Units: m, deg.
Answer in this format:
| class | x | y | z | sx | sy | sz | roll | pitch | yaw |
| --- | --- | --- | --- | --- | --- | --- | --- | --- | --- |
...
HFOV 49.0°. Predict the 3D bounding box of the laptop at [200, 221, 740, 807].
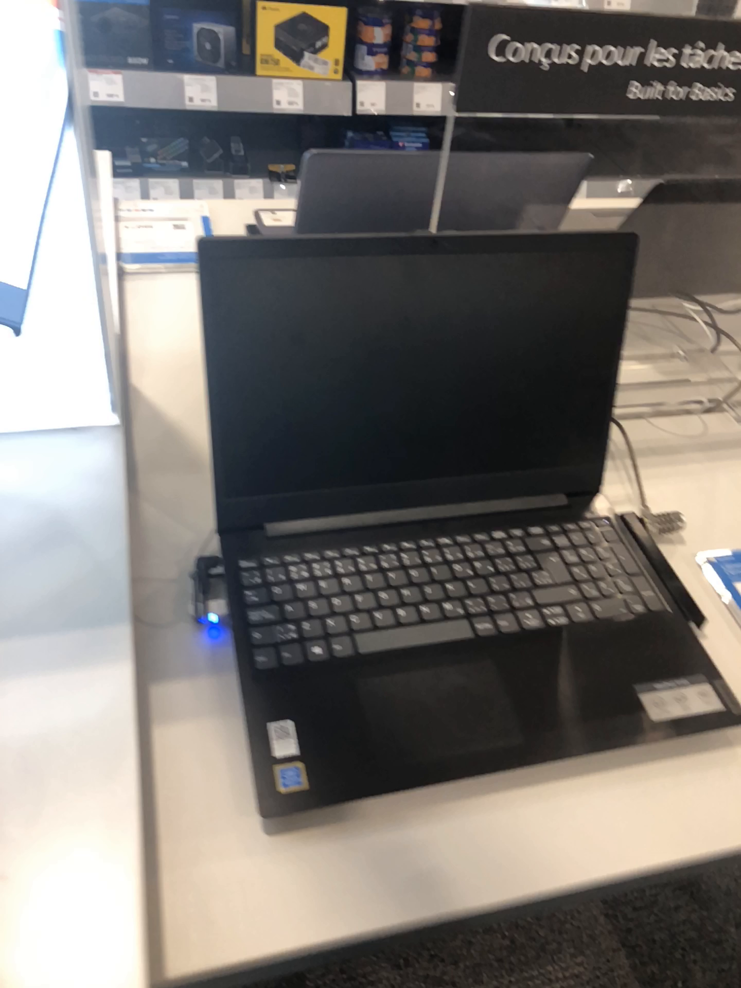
| class | x | y | z | sx | sy | sz | roll | pitch | yaw |
| --- | --- | --- | --- | --- | --- | --- | --- | --- | --- |
| laptop | 0.072 | -0.014 | 0.589 | 0.346 | 0.213 | 0.323 | -6 | 46 | -14 |
